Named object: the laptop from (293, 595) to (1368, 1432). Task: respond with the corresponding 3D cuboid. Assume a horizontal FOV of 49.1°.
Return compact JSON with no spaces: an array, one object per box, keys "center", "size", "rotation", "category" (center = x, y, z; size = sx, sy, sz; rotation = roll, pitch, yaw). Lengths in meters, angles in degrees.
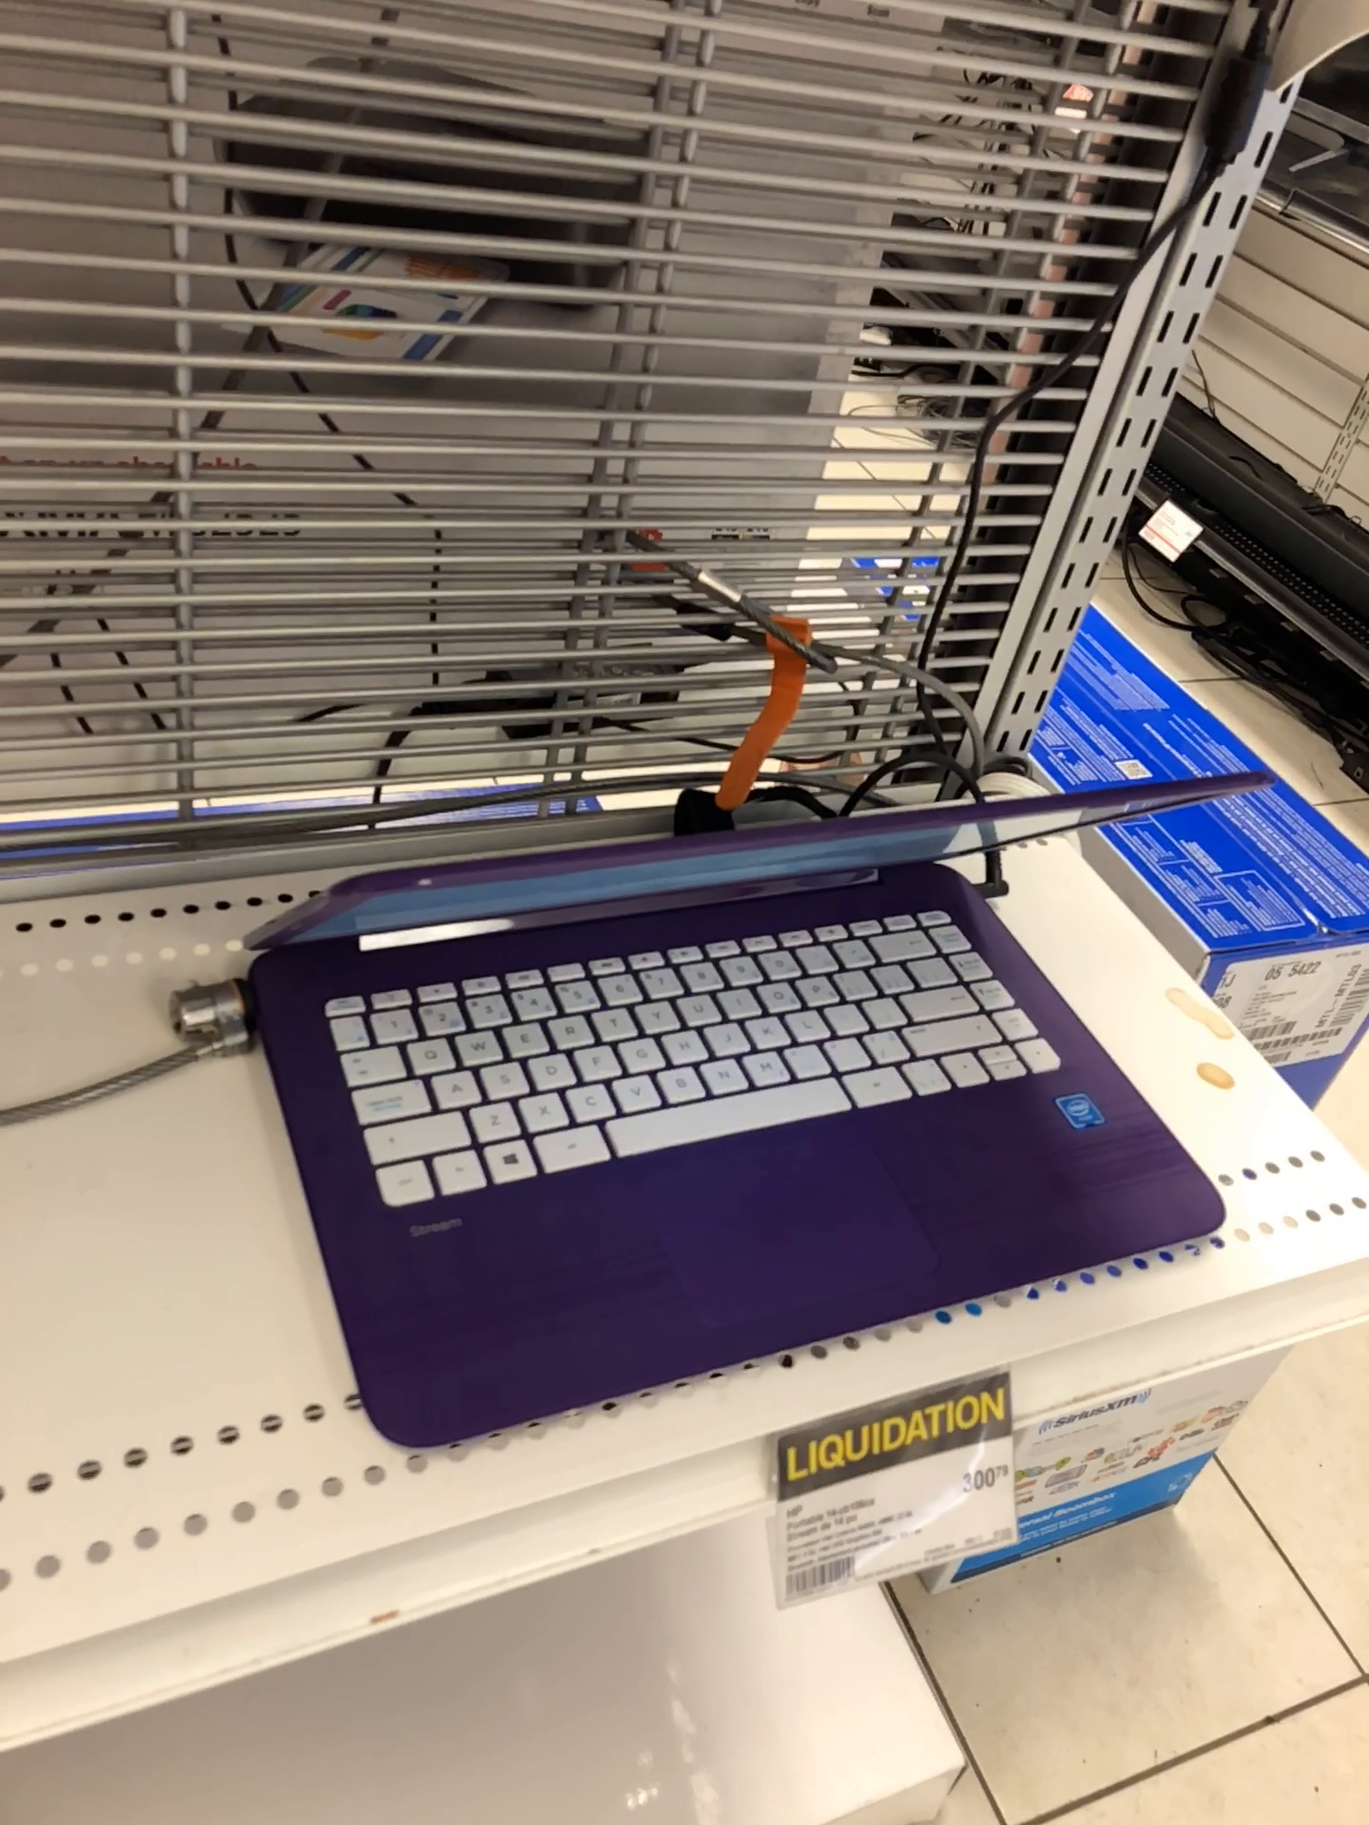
[{"center":[0.036,0.012,0.530],"size":[0.305,0.138,0.206],"rotation":[-7,45,-24],"category":"laptop"}]
